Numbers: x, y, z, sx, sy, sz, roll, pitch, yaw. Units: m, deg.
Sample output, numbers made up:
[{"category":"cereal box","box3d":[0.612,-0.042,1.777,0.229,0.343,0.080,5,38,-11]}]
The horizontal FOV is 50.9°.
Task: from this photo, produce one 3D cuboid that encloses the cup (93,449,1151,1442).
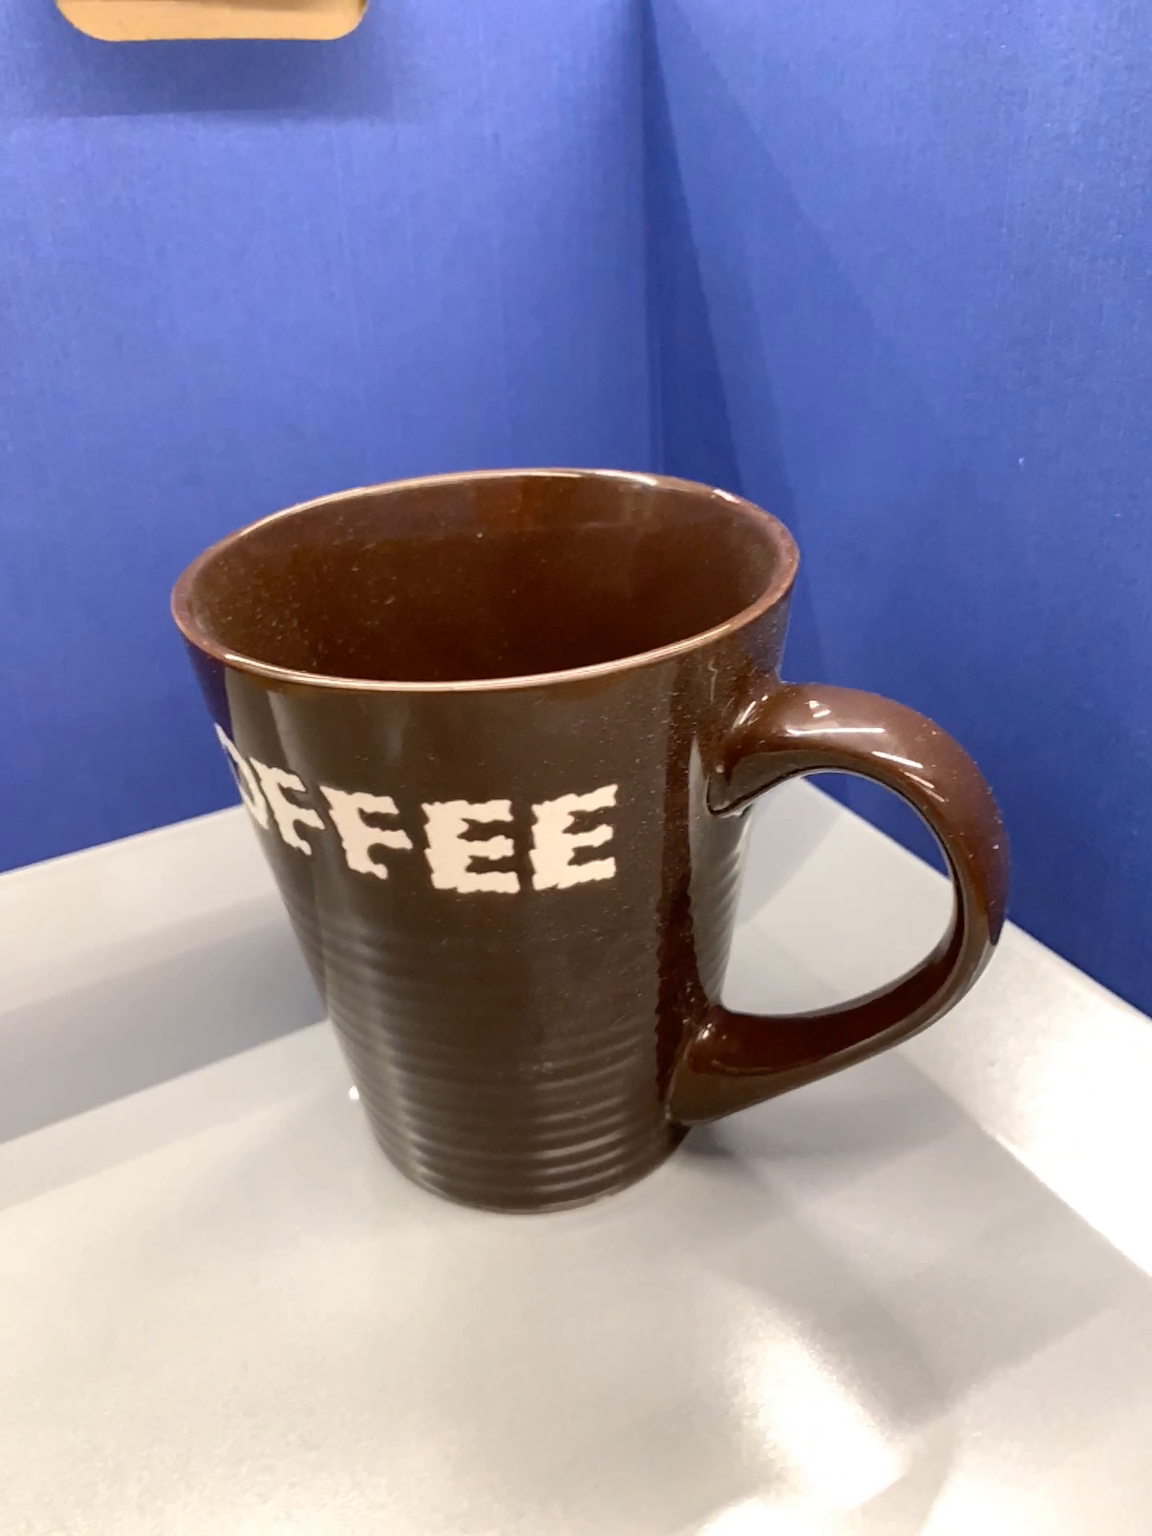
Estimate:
[{"category":"cup","box3d":[0.013,0.013,0.197,0.128,0.098,0.089,12,32,26]}]
